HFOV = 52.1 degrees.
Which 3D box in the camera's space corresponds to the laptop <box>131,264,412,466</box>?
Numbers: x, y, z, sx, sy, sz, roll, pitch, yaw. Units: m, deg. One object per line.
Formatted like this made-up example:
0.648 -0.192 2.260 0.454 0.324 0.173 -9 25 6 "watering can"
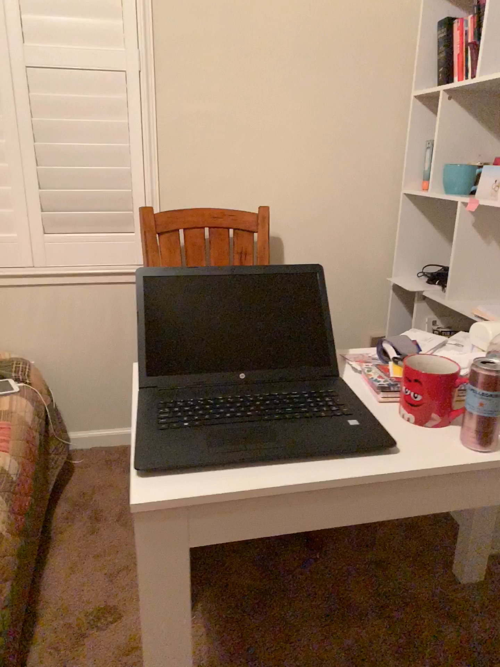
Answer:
0.001 0.019 0.936 0.400 0.197 0.418 -3 20 -10 "laptop"
